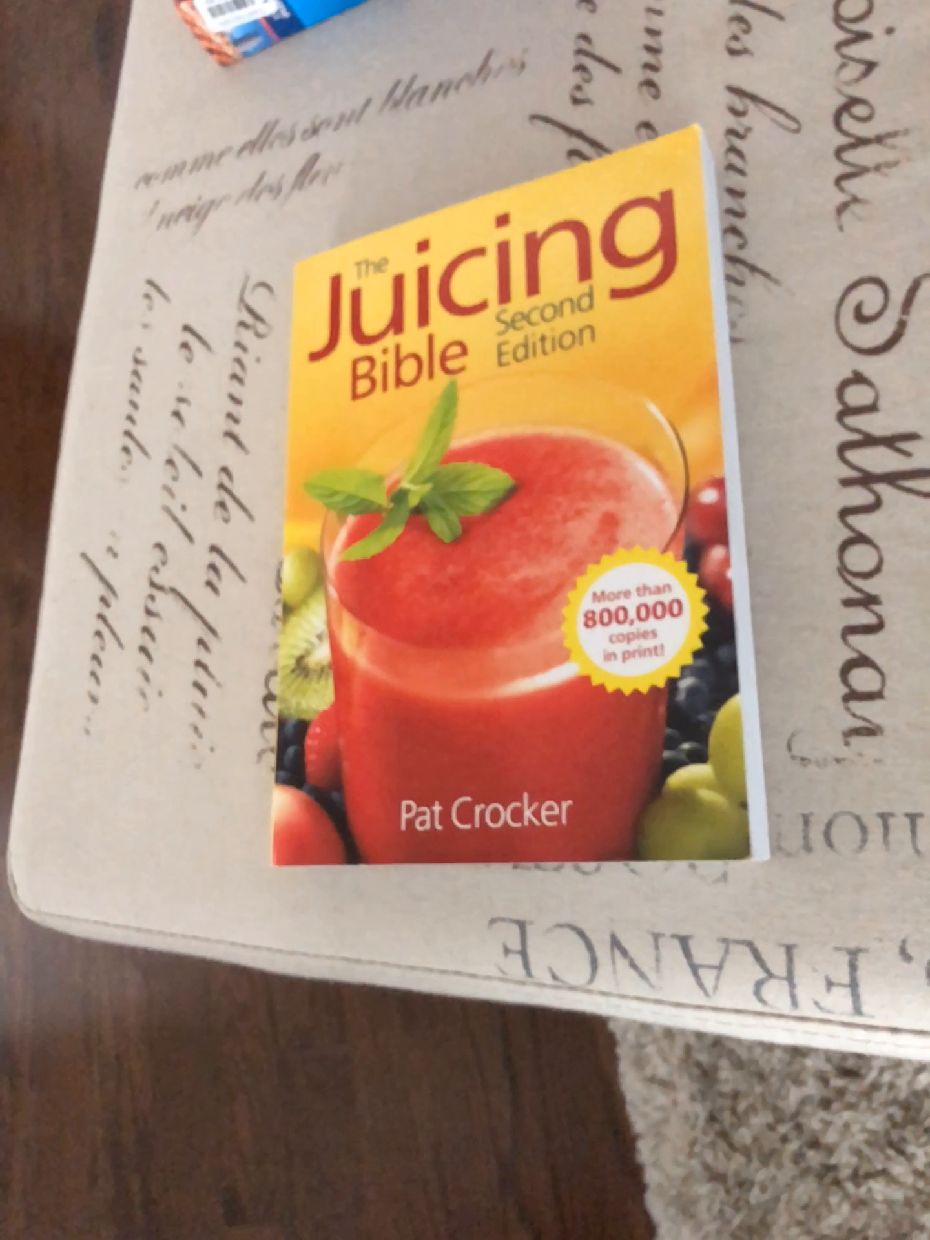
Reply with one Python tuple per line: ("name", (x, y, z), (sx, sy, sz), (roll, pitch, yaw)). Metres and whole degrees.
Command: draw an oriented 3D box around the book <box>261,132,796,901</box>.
("book", (0.012, -0.029, 0.376), (0.180, 0.030, 0.250), (-9, 73, 27))
